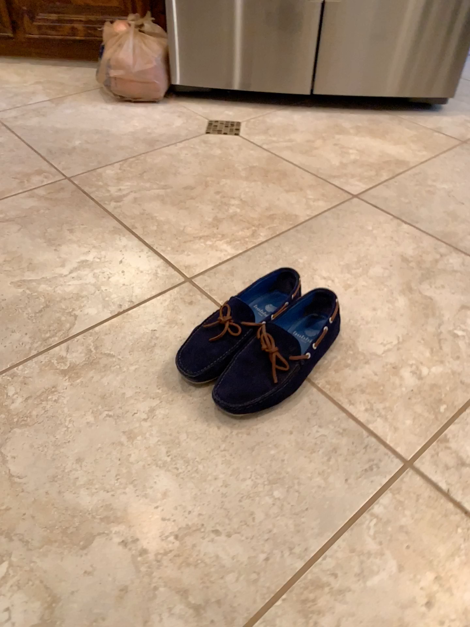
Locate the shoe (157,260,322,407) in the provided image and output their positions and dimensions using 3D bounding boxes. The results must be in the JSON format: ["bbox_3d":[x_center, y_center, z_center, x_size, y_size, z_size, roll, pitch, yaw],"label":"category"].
[{"bbox_3d":[0.015,0.022,0.803,0.099,0.074,0.282,35,52,30],"label":"shoe"}]

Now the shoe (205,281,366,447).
[{"bbox_3d":[0.085,0.065,0.756,0.099,0.074,0.282,30,51,27],"label":"shoe"}]
